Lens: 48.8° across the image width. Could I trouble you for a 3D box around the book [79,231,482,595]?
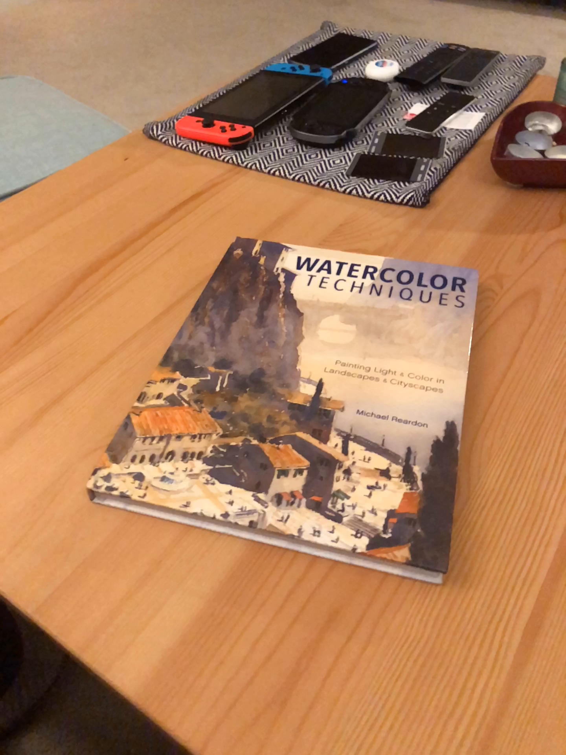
[{"bbox_3d":[0.022,-0.007,0.440,0.213,0.020,0.280,10,47,12],"label":"book"}]
